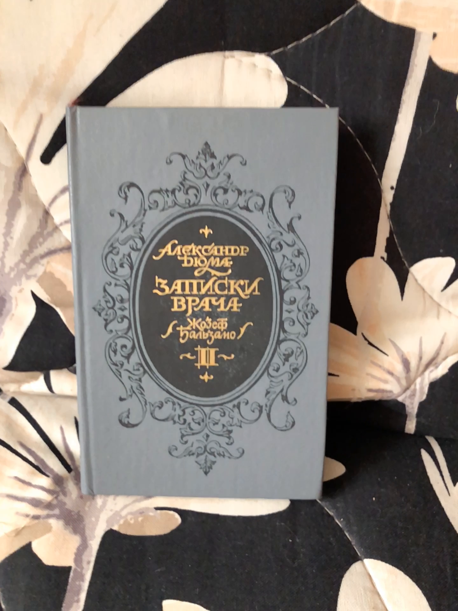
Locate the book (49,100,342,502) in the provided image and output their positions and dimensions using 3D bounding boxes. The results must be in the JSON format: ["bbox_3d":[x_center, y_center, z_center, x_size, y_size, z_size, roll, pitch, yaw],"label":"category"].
[{"bbox_3d":[-0.016,0.001,0.275,0.140,0.030,0.206,0,100,2],"label":"book"}]
